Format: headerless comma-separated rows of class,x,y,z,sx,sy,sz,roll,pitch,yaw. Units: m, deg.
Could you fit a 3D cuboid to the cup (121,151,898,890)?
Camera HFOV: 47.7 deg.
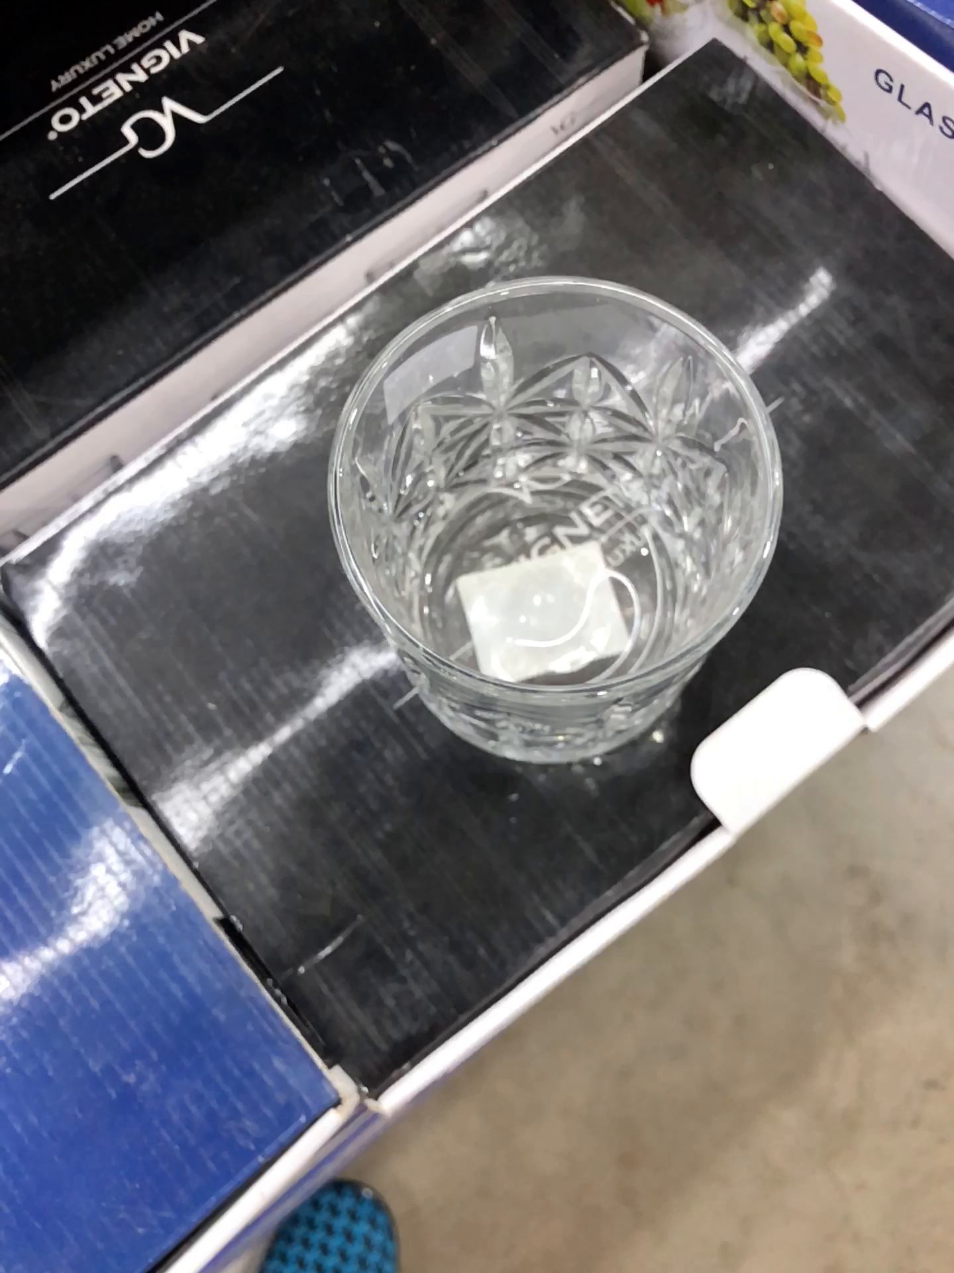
cup,0.008,-0.015,0.243,0.100,0.100,0.100,-1,76,3
